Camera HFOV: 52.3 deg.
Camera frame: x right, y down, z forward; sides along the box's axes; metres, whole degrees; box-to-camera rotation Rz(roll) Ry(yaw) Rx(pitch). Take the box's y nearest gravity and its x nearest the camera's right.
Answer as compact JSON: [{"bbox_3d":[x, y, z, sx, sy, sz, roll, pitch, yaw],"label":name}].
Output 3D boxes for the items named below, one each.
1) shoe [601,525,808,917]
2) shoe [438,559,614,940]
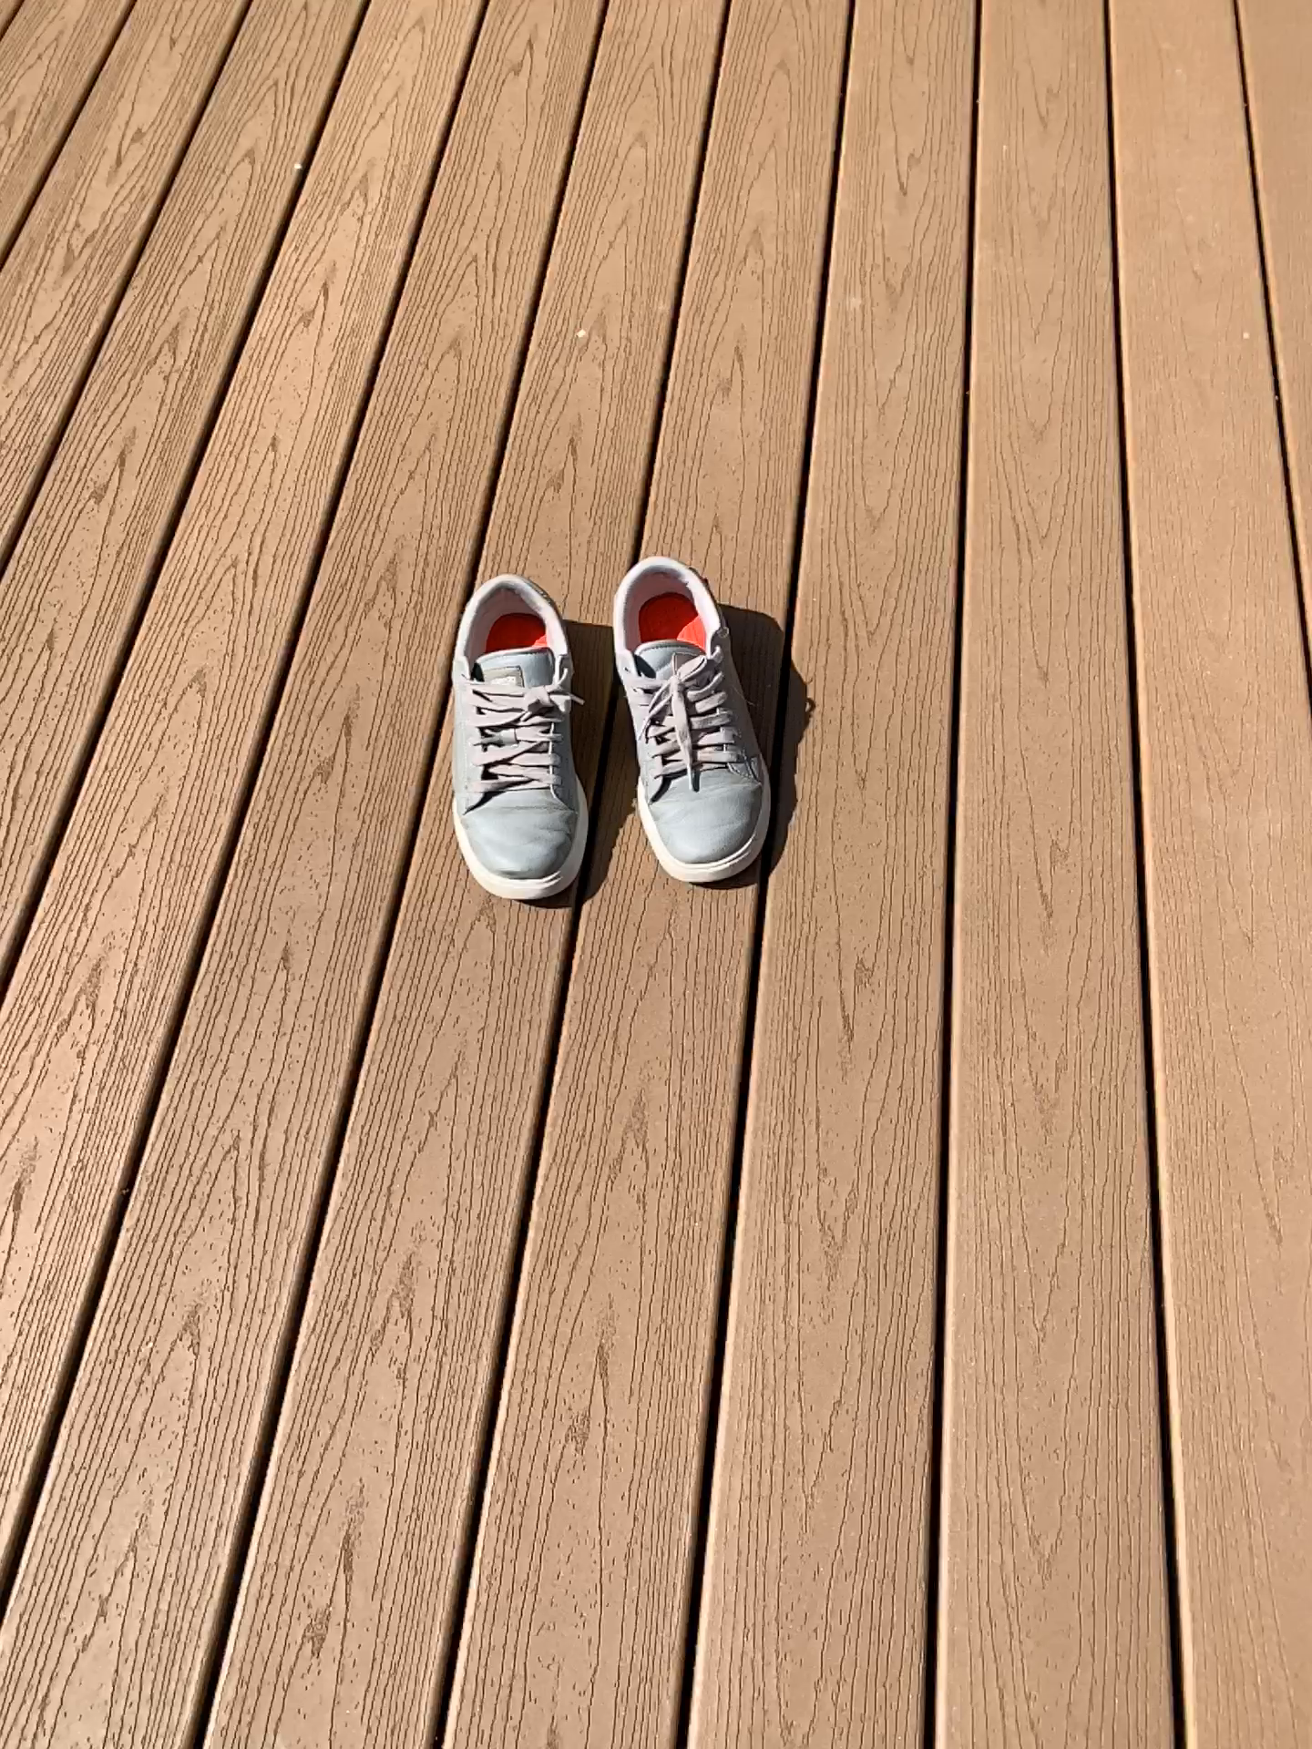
[{"bbox_3d":[0.034,-0.125,1.059,0.120,0.100,0.291,-7,63,-1],"label":"shoe"},{"bbox_3d":[-0.100,-0.103,1.071,0.120,0.100,0.291,-3,63,2],"label":"shoe"}]
